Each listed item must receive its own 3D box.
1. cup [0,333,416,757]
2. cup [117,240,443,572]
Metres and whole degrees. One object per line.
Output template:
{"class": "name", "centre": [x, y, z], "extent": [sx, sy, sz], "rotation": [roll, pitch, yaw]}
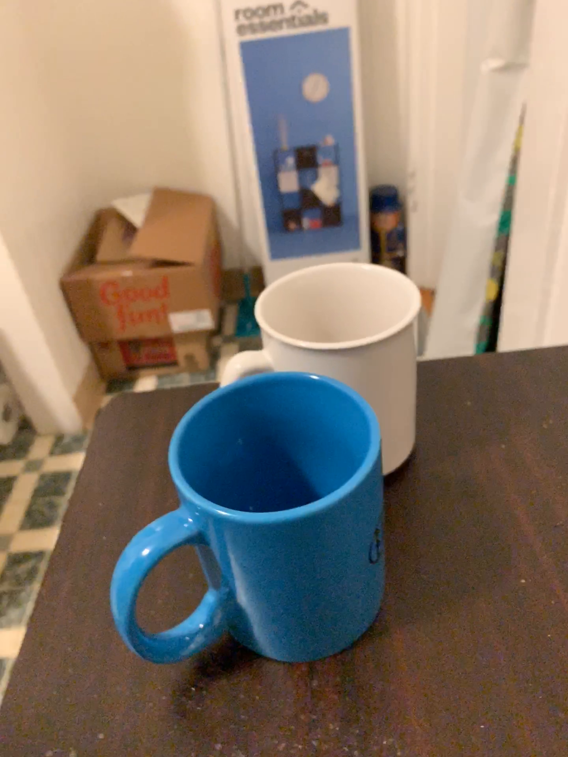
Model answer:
{"class": "cup", "centre": [-0.032, 0.069, 0.234], "extent": [0.140, 0.099, 0.090], "rotation": [-28, 41, -23]}
{"class": "cup", "centre": [0.002, 0.007, 0.315], "extent": [0.130, 0.099, 0.090], "rotation": [-26, 40, -22]}
